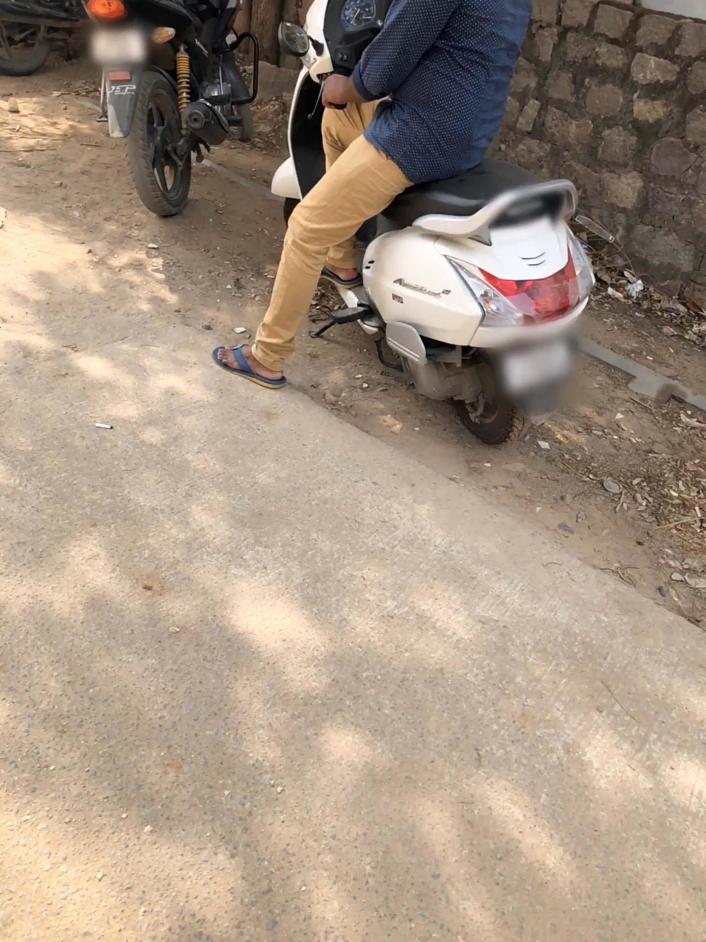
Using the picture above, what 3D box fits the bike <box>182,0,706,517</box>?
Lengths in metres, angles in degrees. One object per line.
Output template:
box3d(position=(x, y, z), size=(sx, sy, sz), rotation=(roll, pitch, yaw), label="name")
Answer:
box3d(position=(0.051, -0.889, 2.414), size=(0.624, 1.199, 1.593), rotation=(-11, 41, -29), label="bike")
